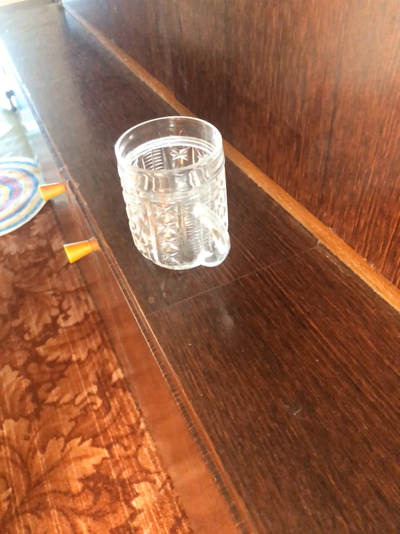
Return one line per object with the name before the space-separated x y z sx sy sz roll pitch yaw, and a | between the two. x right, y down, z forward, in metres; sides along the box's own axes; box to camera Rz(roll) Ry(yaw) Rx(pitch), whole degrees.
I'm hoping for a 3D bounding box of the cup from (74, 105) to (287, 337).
cup | -0.012 -0.032 0.268 0.070 0.080 0.100 -31 51 -23
